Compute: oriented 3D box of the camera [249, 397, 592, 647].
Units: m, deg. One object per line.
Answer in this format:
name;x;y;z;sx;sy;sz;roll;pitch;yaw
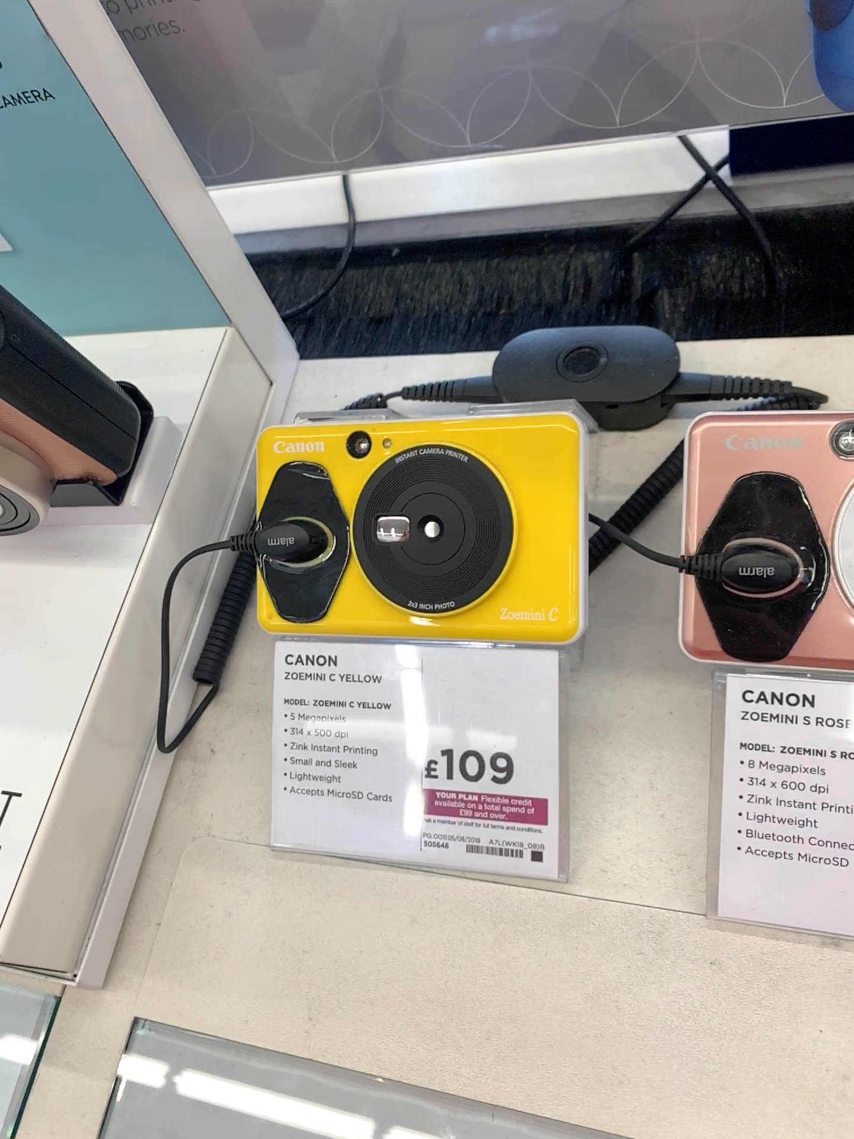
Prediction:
camera;-0.004;-0.016;0.311;0.120;0.020;0.080;0;92;18
